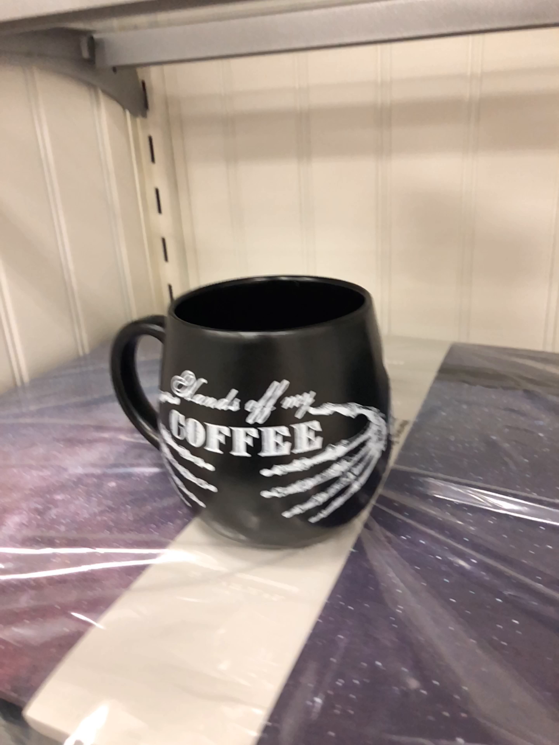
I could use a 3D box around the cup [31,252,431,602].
[{"bbox_3d":[-0.017,0.009,0.286,0.140,0.099,0.100,11,27,32],"label":"cup"}]
